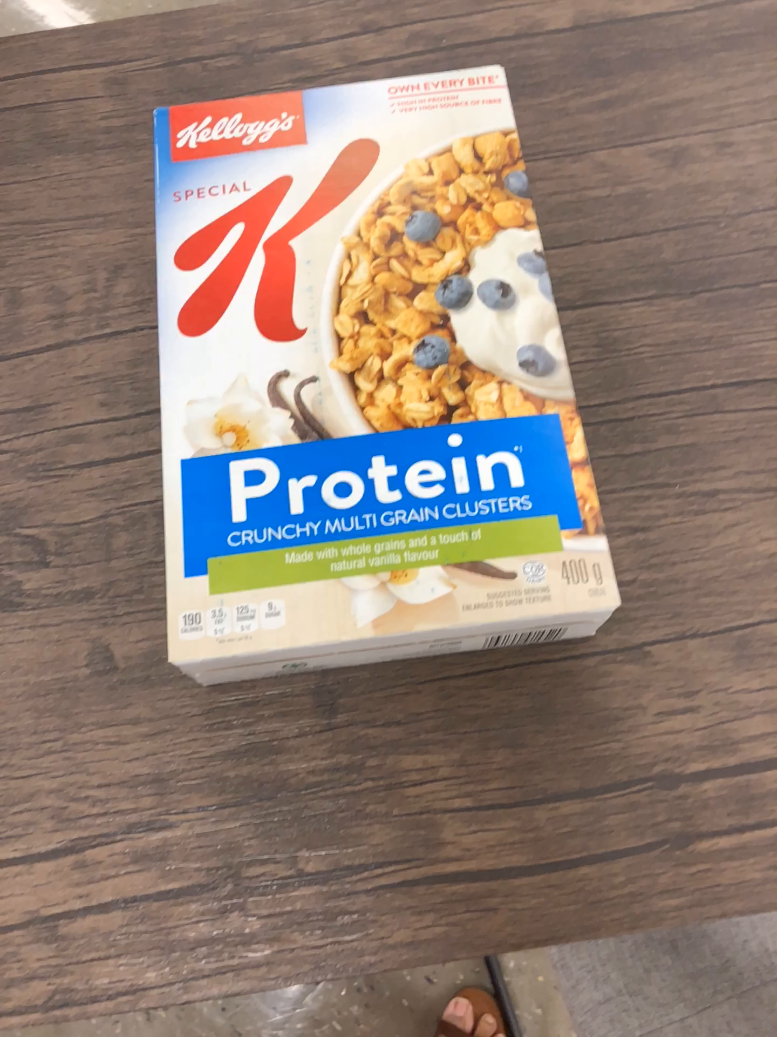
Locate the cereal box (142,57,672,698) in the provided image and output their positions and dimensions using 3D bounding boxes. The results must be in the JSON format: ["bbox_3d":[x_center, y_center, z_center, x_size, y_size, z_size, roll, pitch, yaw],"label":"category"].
[{"bbox_3d":[-0.006,-0.069,0.368,0.180,0.050,0.260,-7,69,0],"label":"cereal box"}]
